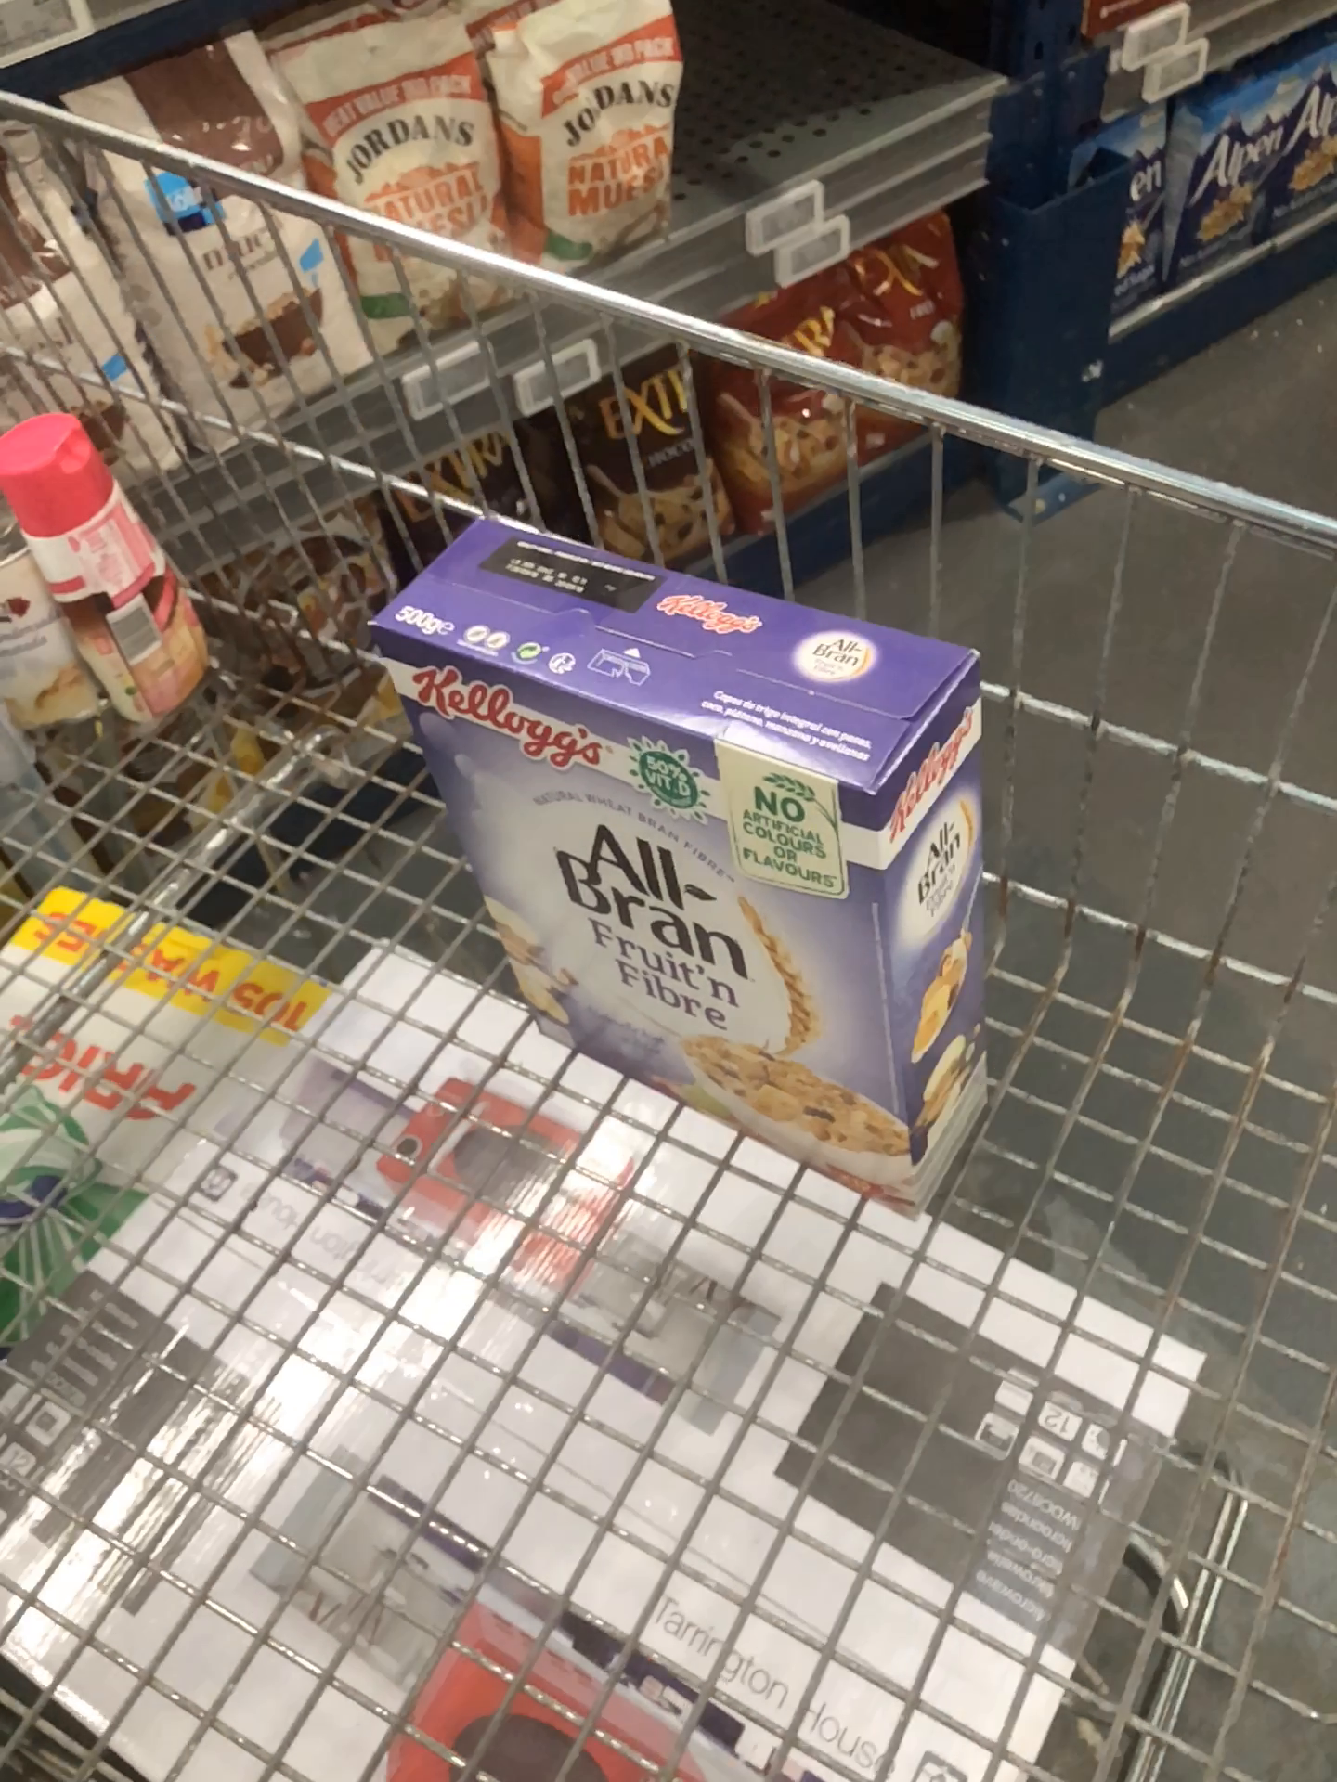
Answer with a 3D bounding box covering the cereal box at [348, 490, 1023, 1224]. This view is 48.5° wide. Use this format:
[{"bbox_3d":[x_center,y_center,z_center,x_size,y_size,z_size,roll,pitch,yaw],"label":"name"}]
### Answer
[{"bbox_3d":[0.019,-0.008,0.543,0.200,0.229,0.080,21,57,28],"label":"cereal box"}]
